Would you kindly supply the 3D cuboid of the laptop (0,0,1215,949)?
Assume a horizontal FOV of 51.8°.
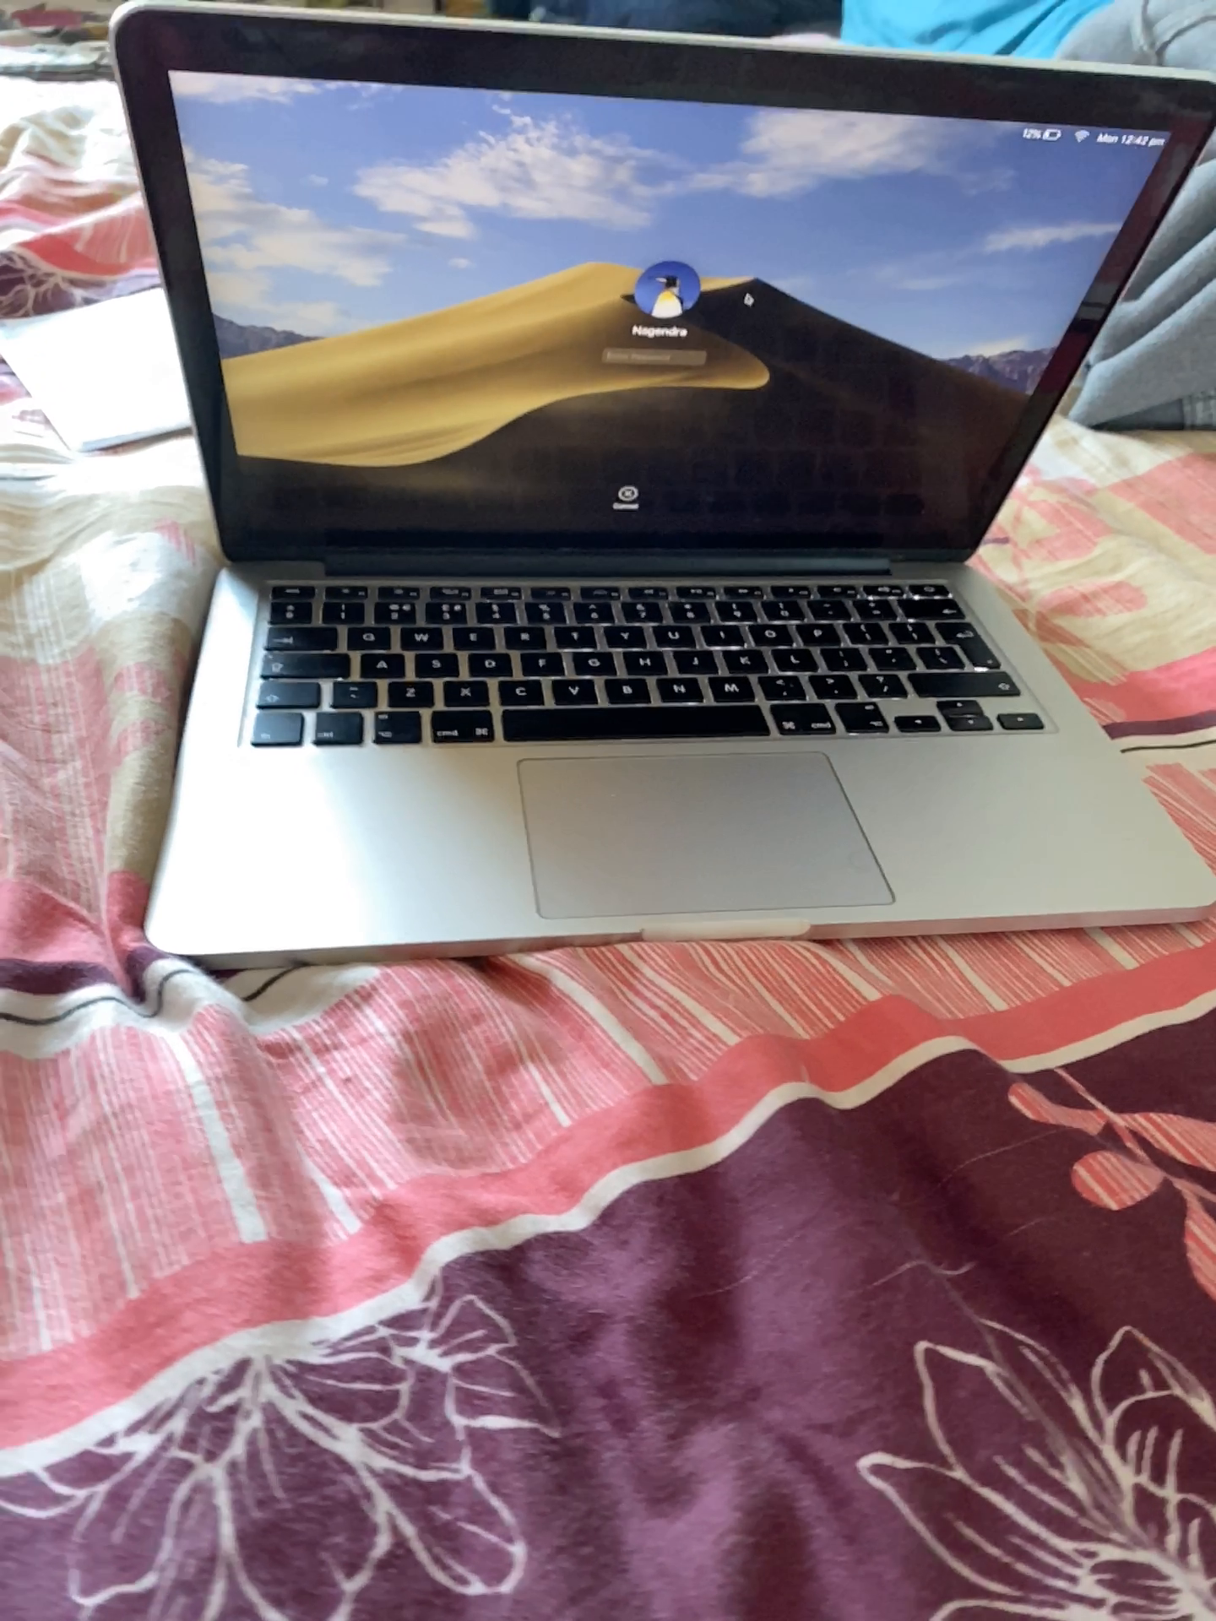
[{"bbox_3d":[0.020,-0.106,0.365,0.303,0.191,0.203,-2,40,-7],"label":"laptop"}]
